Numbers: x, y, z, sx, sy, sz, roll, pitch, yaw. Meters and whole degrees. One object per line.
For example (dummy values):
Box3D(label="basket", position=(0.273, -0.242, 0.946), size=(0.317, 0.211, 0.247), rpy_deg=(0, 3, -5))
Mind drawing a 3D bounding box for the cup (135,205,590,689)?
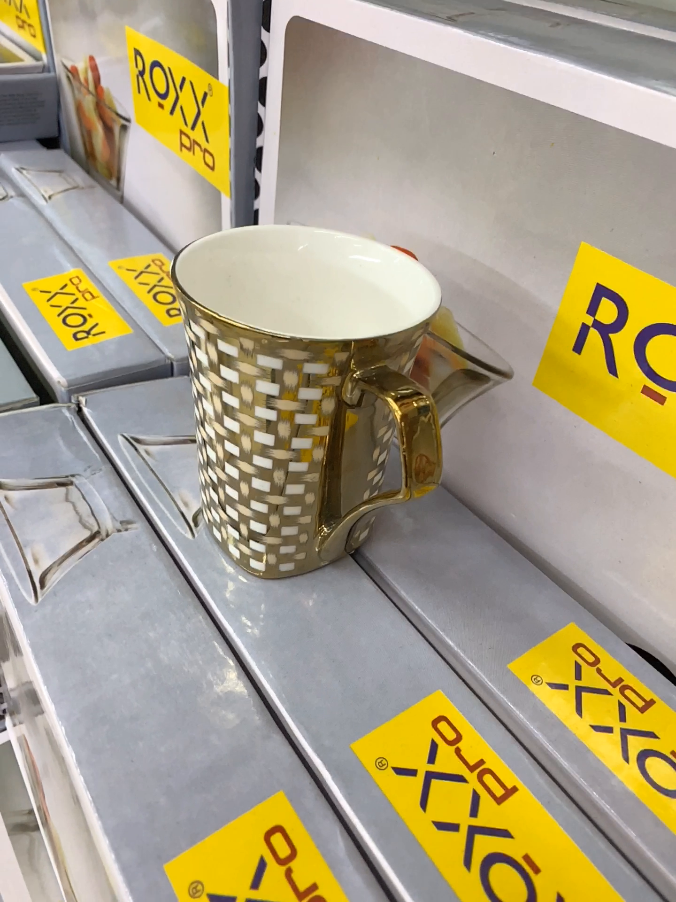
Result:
Box3D(label="cup", position=(-0.003, -0.010, 0.230), size=(0.082, 0.091, 0.113), rpy_deg=(-18, 45, -29))
